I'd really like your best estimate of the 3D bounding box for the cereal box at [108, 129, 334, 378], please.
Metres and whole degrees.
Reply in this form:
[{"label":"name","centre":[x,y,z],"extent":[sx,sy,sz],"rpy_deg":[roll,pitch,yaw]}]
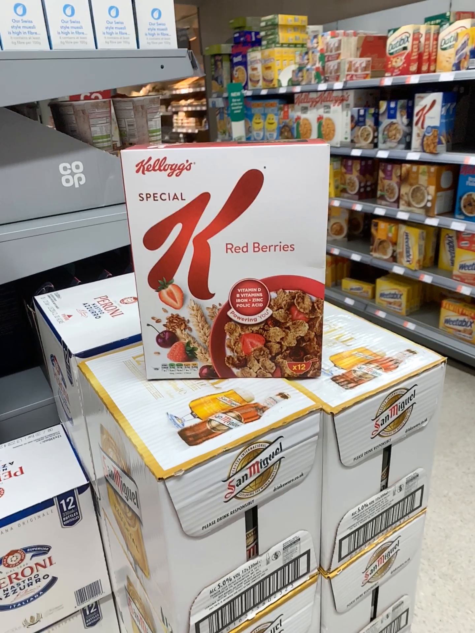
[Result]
[{"label":"cereal box","centre":[-0.008,-0.061,0.504],"extent":[0.200,0.238,0.071],"rpy_deg":[-1,21,4]}]
